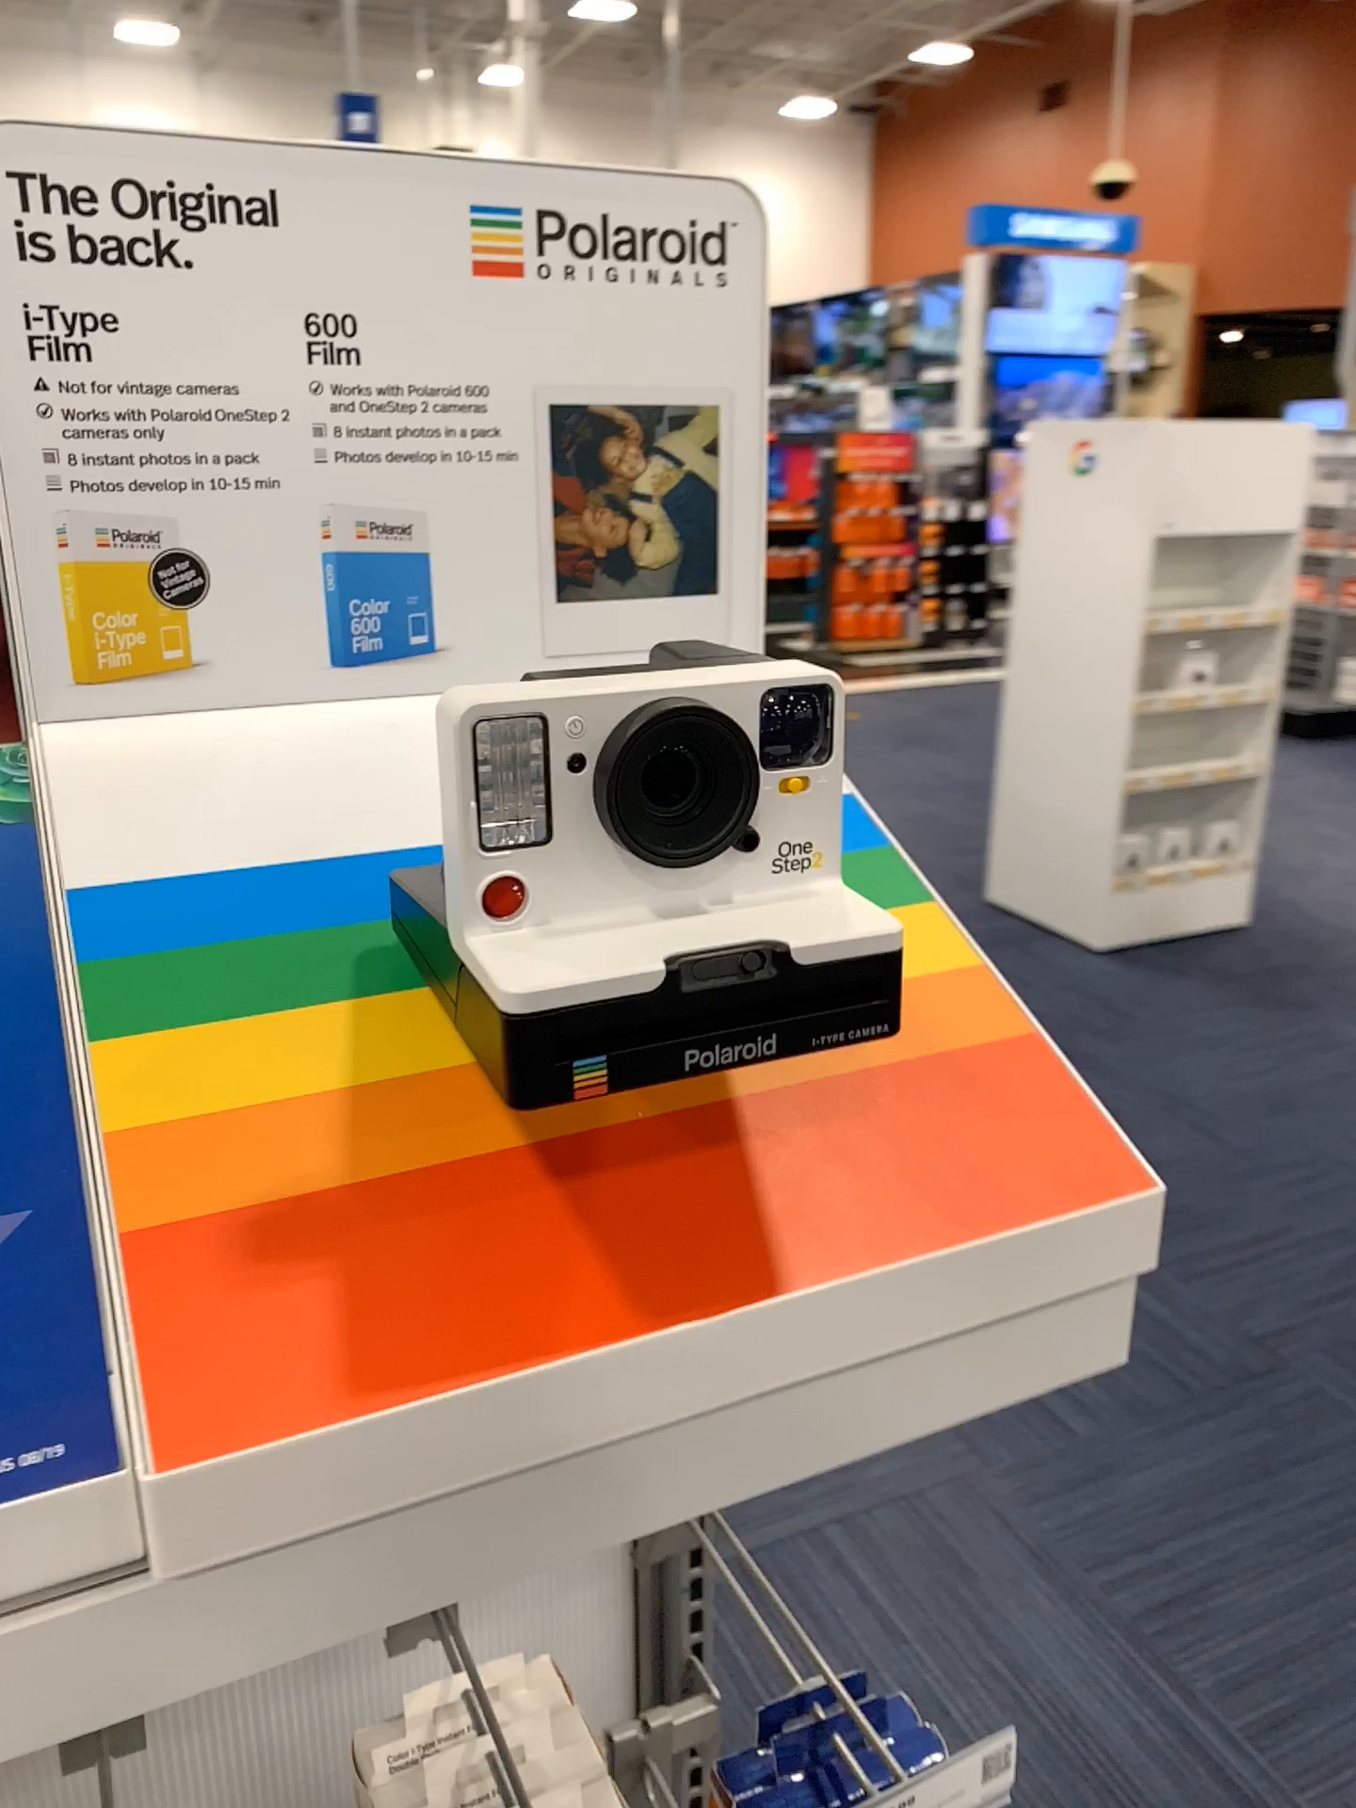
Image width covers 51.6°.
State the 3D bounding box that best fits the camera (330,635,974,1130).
[{"bbox_3d":[-0.016,-0.020,0.406,0.130,0.090,0.151,-8,20,-24],"label":"camera"}]
